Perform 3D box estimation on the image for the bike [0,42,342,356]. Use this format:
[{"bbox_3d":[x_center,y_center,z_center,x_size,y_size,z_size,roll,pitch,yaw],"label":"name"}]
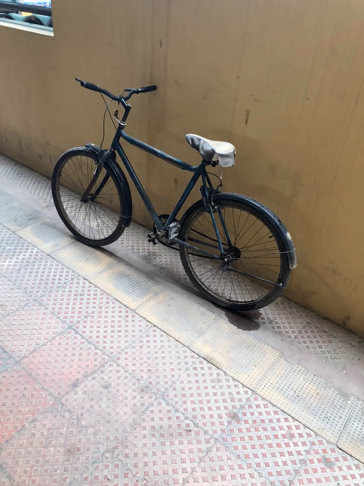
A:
[{"bbox_3d":[-0.188,-0.305,2.051,1.548,0.998,0.543,25,37,23],"label":"bike"}]
